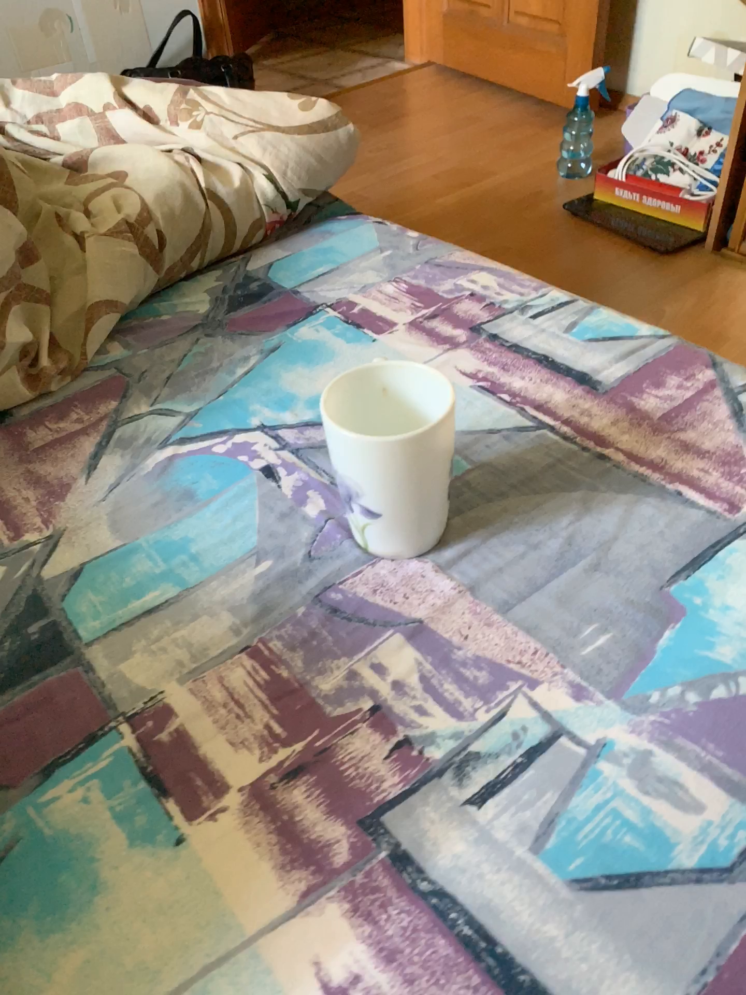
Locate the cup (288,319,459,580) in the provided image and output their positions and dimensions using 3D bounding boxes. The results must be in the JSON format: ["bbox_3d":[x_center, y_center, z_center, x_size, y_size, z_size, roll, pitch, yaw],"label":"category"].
[{"bbox_3d":[-0.001,-0.033,0.478,0.080,0.099,0.121,-10,42,-5],"label":"cup"}]
